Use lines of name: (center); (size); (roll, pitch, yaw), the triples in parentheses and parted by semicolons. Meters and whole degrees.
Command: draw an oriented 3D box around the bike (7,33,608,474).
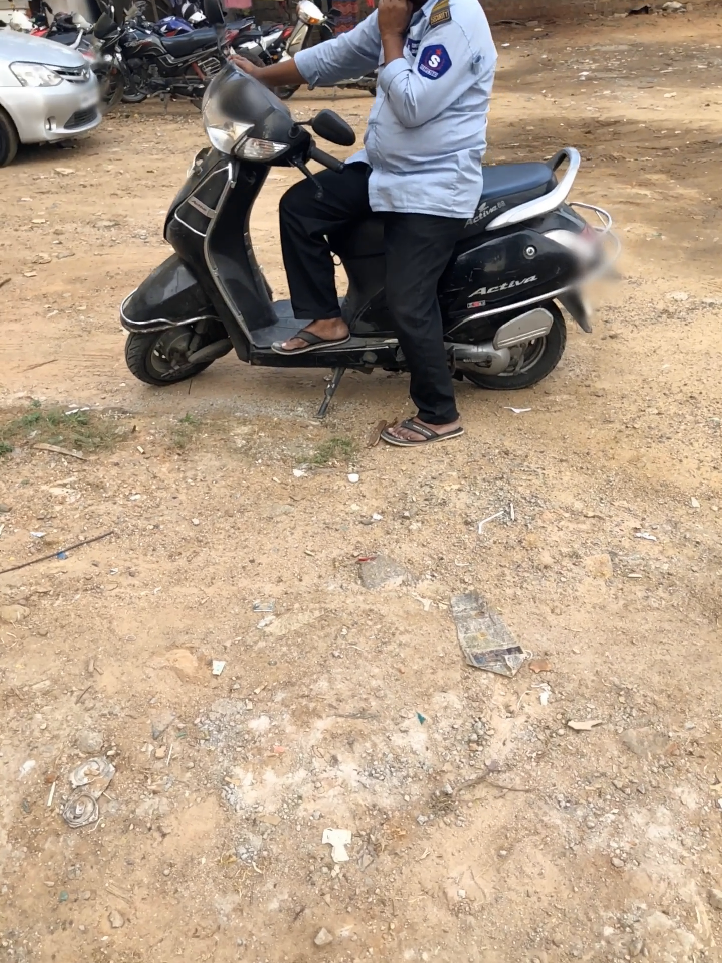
bike: (-0.096, -0.684, 2.507); (1.522, 1.102, 0.578); (-2, 32, 7)
